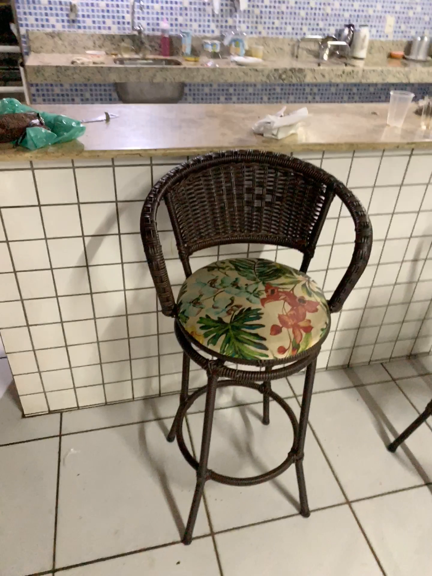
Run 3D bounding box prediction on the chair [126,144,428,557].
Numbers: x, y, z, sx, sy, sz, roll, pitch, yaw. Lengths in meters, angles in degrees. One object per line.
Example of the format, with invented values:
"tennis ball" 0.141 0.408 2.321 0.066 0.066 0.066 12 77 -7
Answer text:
"chair" 0.059 0.175 1.237 0.500 0.974 0.533 -6 35 -13
